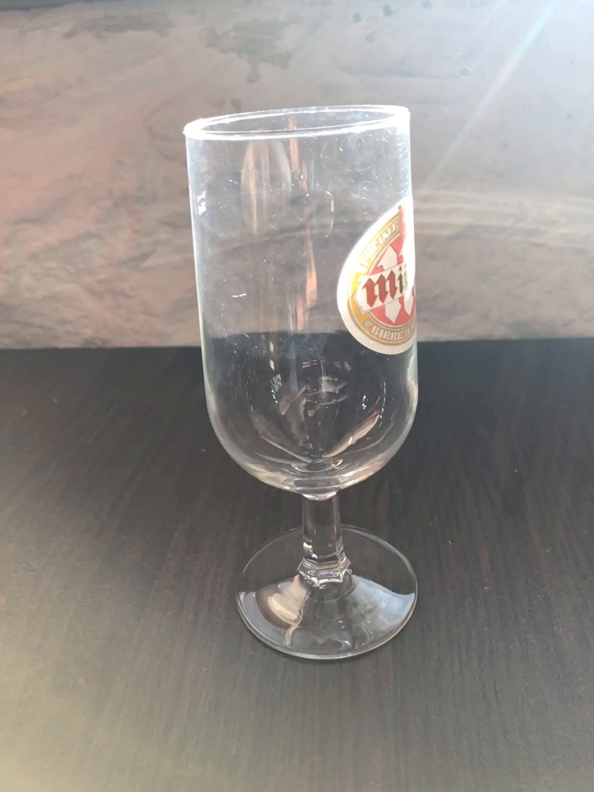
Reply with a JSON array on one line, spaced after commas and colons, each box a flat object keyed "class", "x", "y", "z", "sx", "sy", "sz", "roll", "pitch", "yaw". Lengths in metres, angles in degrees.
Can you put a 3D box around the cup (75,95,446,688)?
[{"class": "cup", "x": -0.001, "y": -0.004, "z": 0.204, "sx": 0.070, "sy": 0.155, "sz": 0.068, "roll": -4, "pitch": 26, "yaw": 2}]
